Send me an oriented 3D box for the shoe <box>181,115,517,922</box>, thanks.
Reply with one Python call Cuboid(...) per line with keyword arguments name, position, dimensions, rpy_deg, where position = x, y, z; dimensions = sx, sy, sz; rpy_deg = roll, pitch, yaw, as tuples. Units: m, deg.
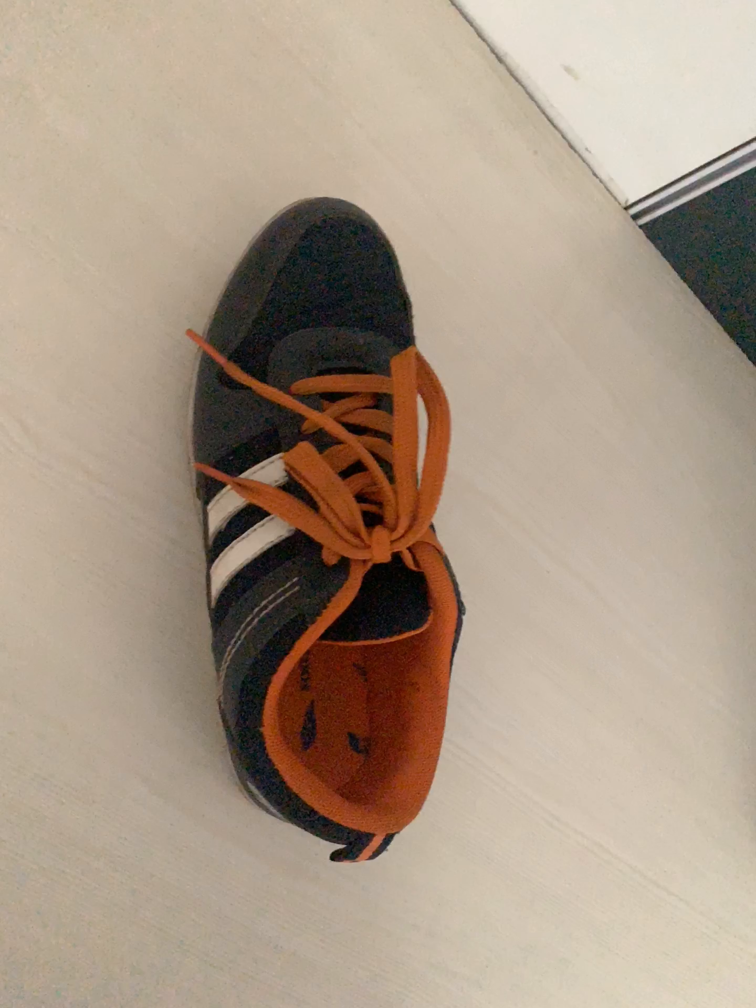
Cuboid(name="shoe", position=(-0.015, 0.004, 0.300), dimensions=(0.100, 0.080, 0.250), rpy_deg=(2, 85, -28))
